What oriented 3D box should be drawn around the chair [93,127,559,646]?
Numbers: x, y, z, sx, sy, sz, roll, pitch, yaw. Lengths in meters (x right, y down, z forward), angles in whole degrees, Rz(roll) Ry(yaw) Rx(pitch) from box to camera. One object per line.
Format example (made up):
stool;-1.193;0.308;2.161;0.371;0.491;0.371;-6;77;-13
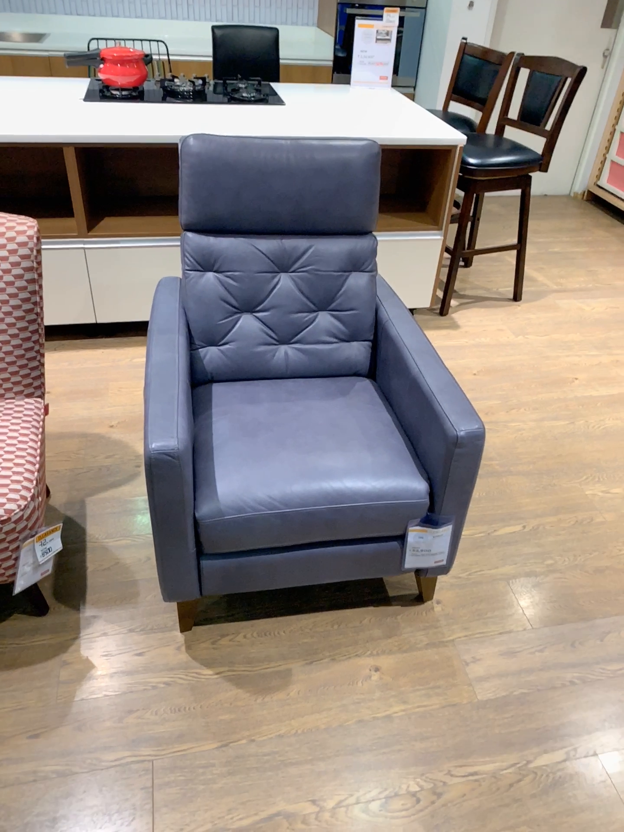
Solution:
chair;-0.054;-0.114;1.658;0.770;0.996;0.853;-4;37;-10
